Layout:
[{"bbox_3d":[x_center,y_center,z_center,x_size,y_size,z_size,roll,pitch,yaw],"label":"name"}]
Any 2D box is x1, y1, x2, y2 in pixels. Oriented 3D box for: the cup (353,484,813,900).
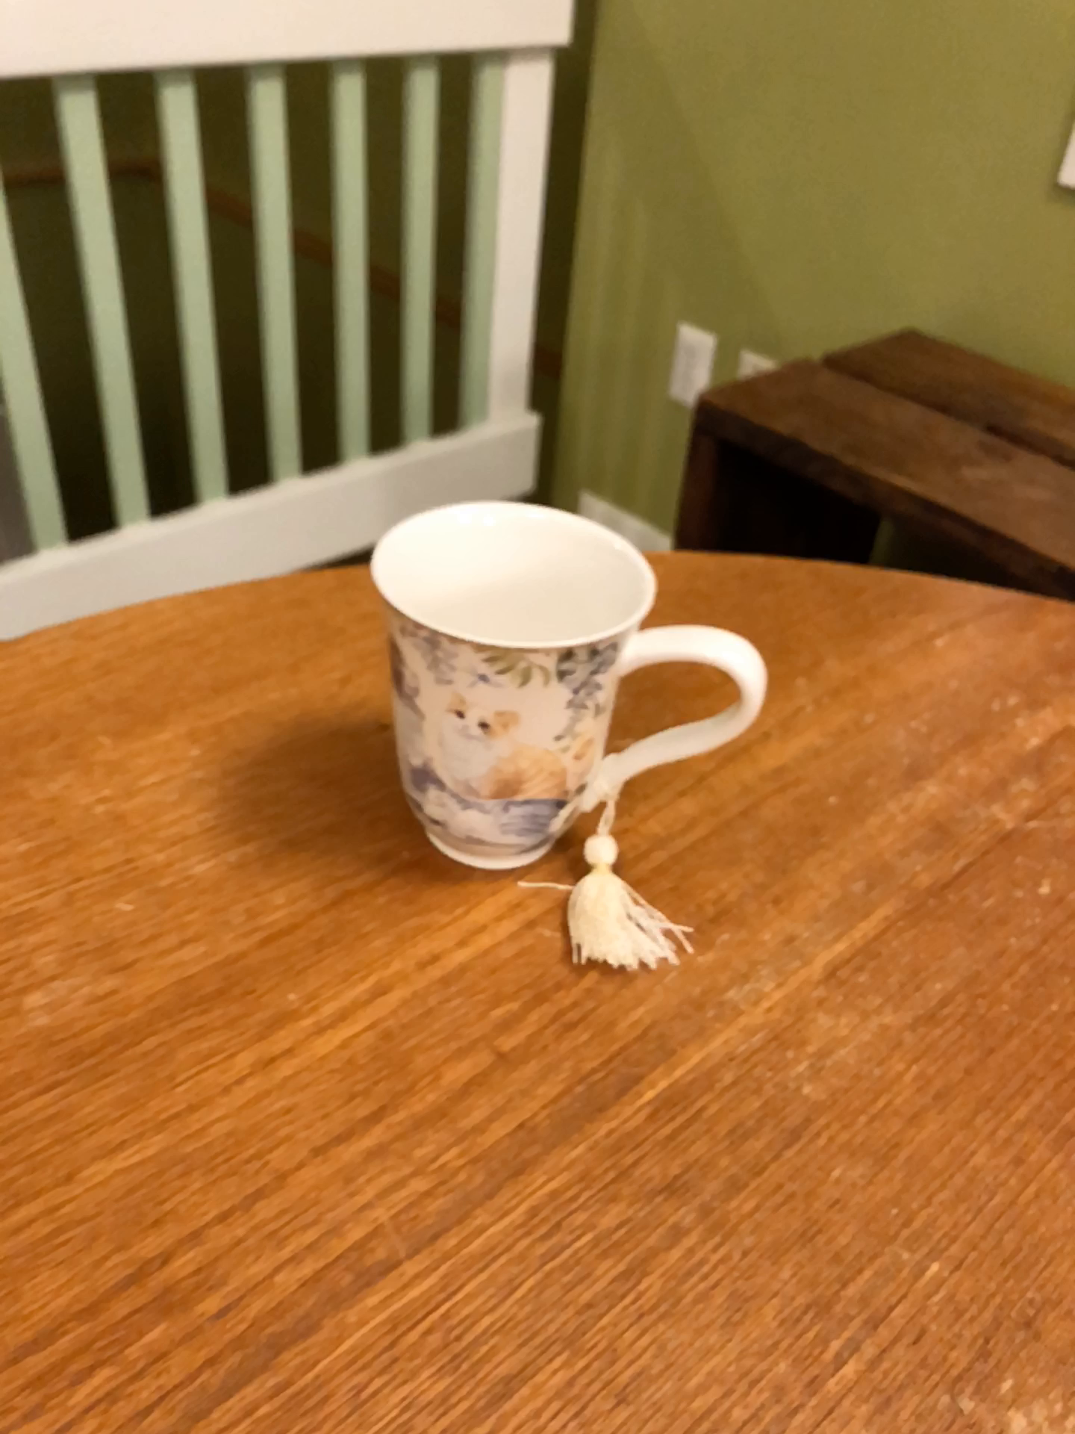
[{"bbox_3d":[0.013,-0.011,0.416,0.135,0.092,0.095,6,37,1],"label":"cup"}]
